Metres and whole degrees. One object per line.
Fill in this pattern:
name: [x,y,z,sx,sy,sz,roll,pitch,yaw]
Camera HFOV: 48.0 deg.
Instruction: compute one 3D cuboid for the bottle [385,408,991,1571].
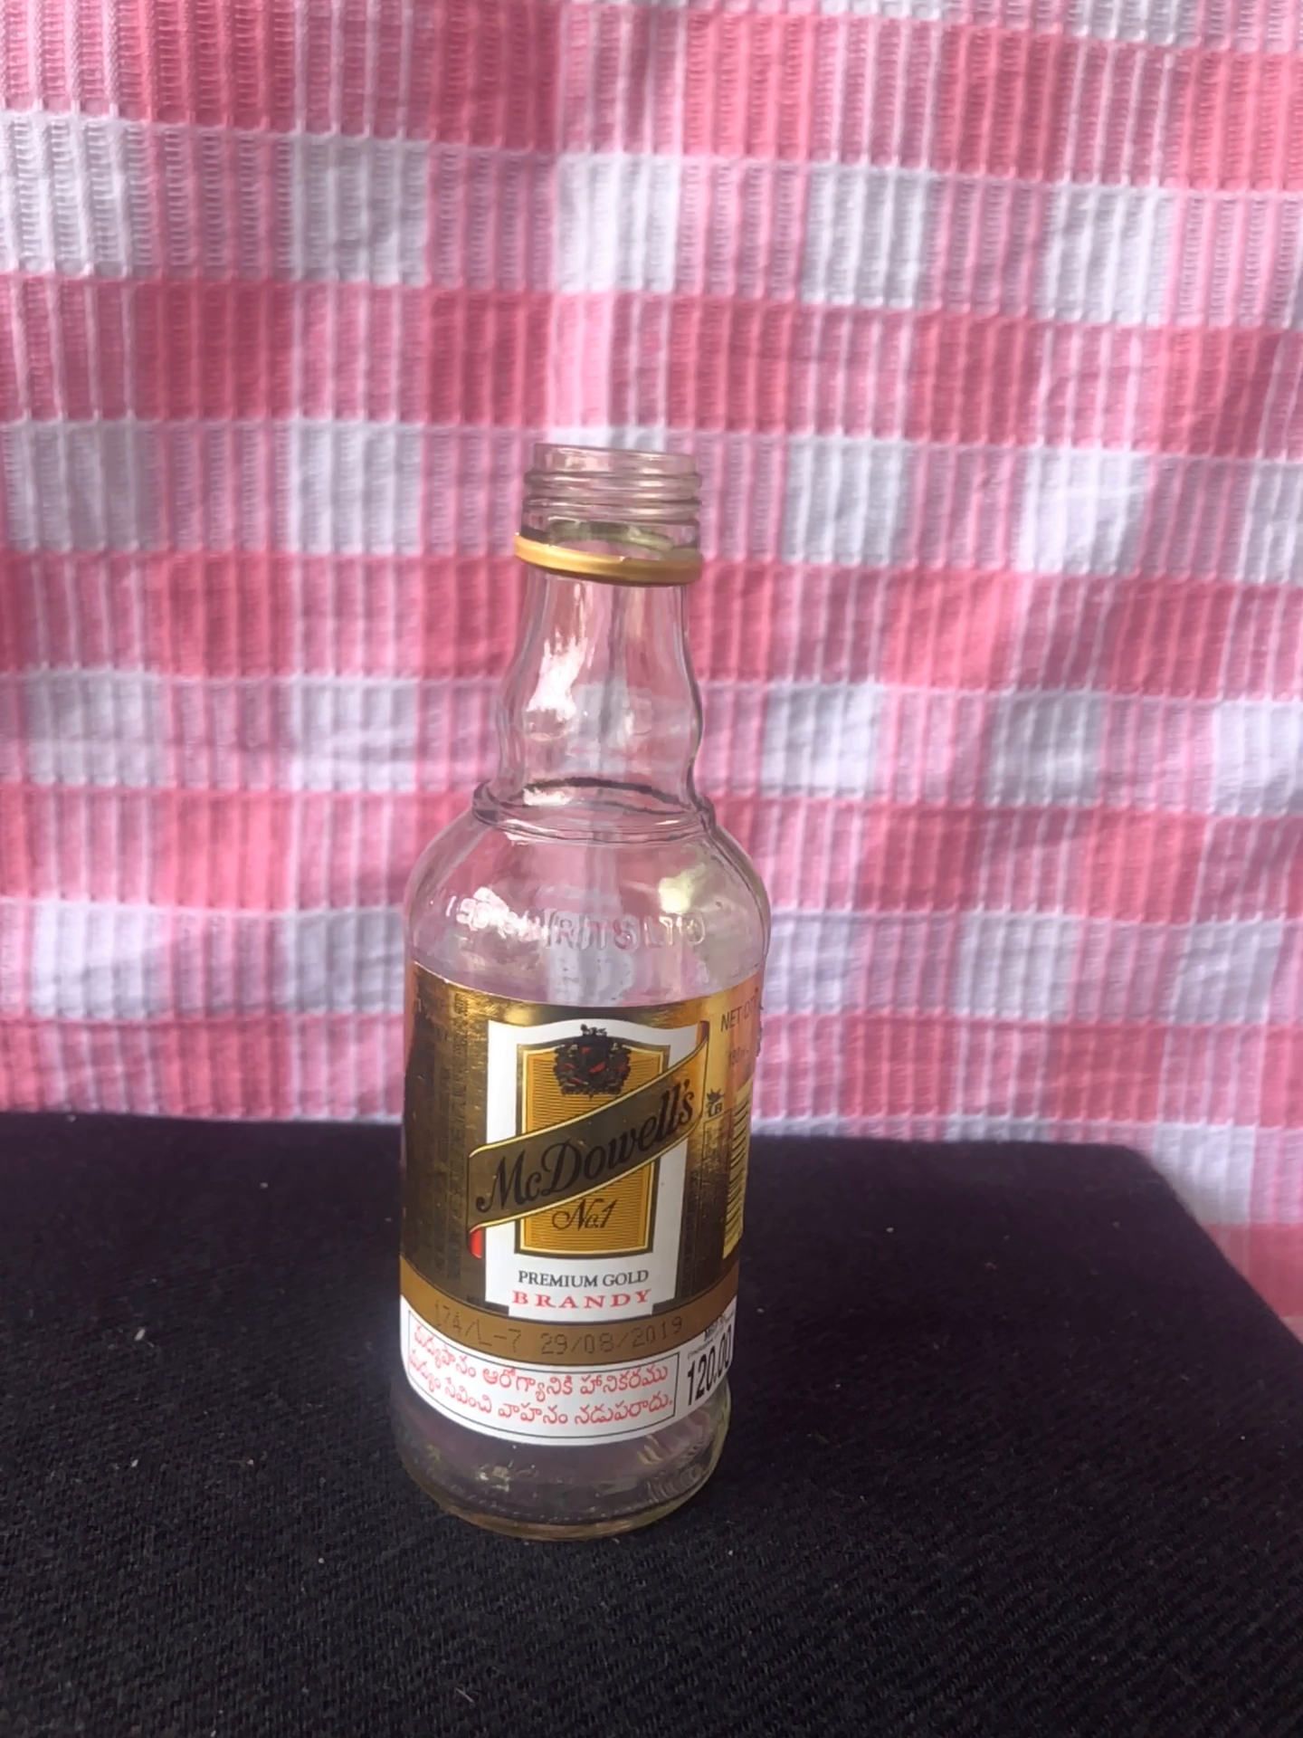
bottle: [0.000,0.017,0.205,0.060,0.149,0.050,5,17,-3]
